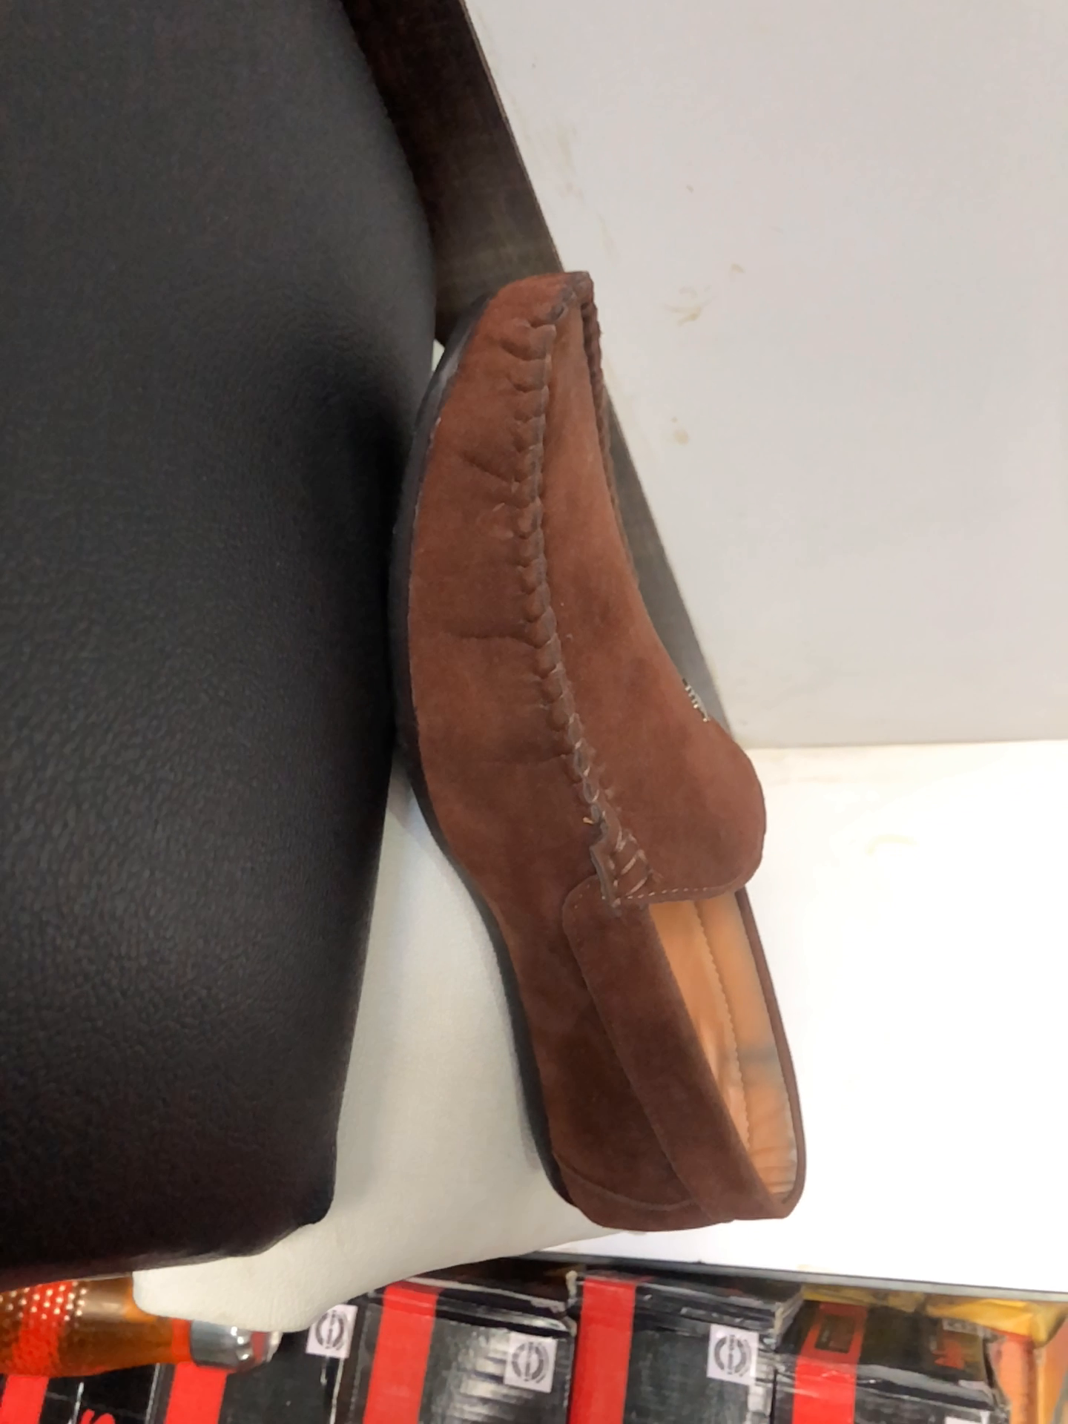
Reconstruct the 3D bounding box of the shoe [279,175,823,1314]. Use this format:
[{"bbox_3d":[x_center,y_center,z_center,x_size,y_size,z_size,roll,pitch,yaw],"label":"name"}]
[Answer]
[{"bbox_3d":[0.032,0.018,0.344,0.140,0.080,0.291,-68,151,-55],"label":"shoe"}]
